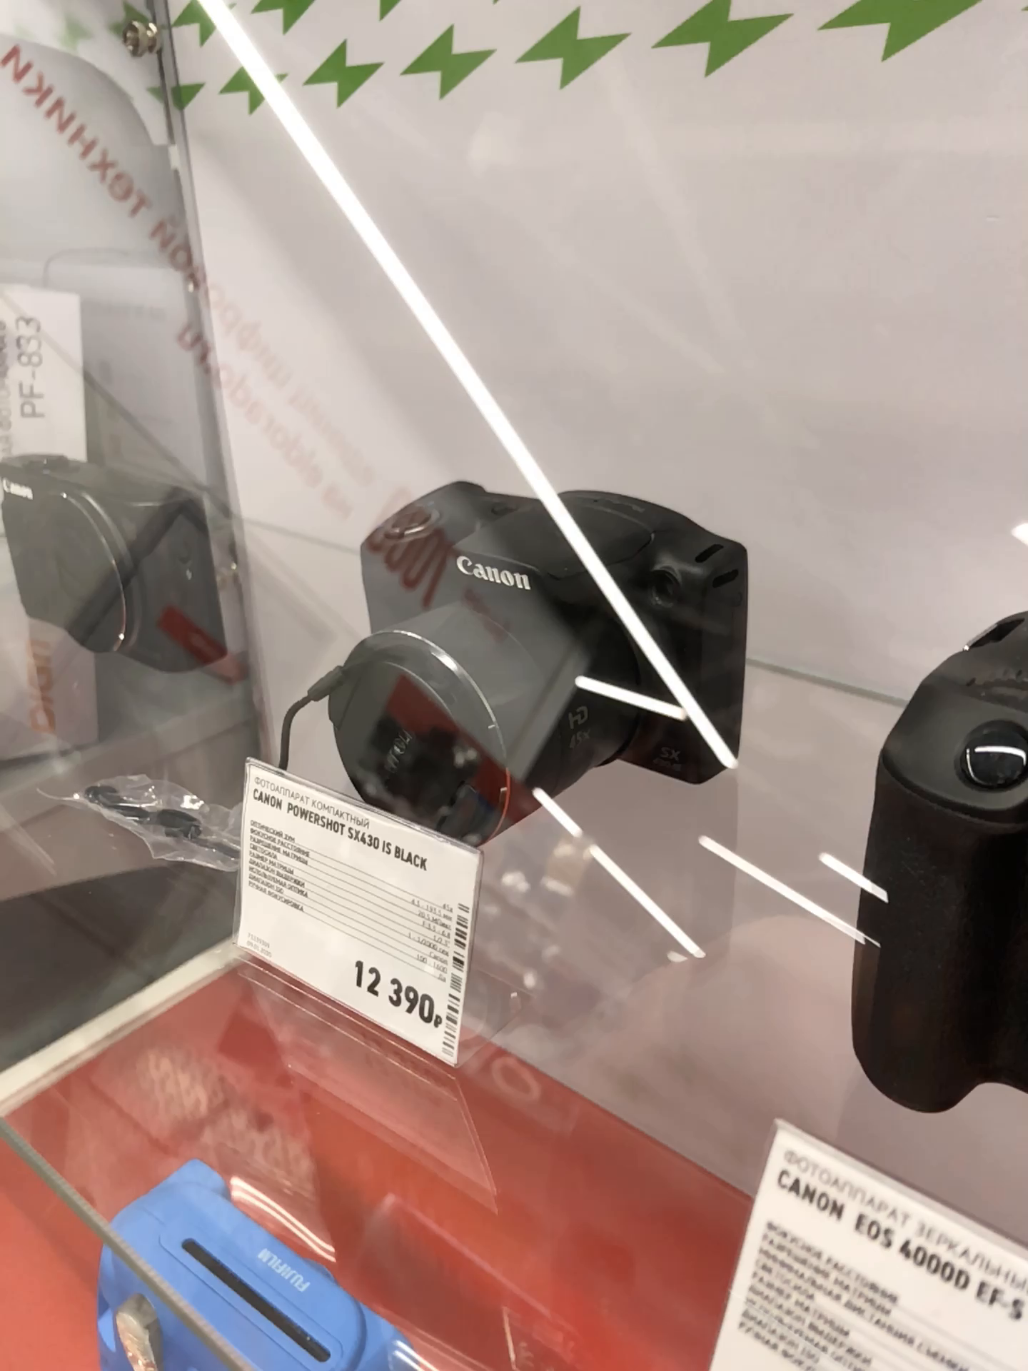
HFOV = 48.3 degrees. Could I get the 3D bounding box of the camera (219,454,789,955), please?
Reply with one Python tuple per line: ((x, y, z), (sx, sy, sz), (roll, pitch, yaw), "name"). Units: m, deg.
((-0.002, -0.005, 0.300), (0.113, 0.080, 0.085), (18, 31, 38), "camera")
